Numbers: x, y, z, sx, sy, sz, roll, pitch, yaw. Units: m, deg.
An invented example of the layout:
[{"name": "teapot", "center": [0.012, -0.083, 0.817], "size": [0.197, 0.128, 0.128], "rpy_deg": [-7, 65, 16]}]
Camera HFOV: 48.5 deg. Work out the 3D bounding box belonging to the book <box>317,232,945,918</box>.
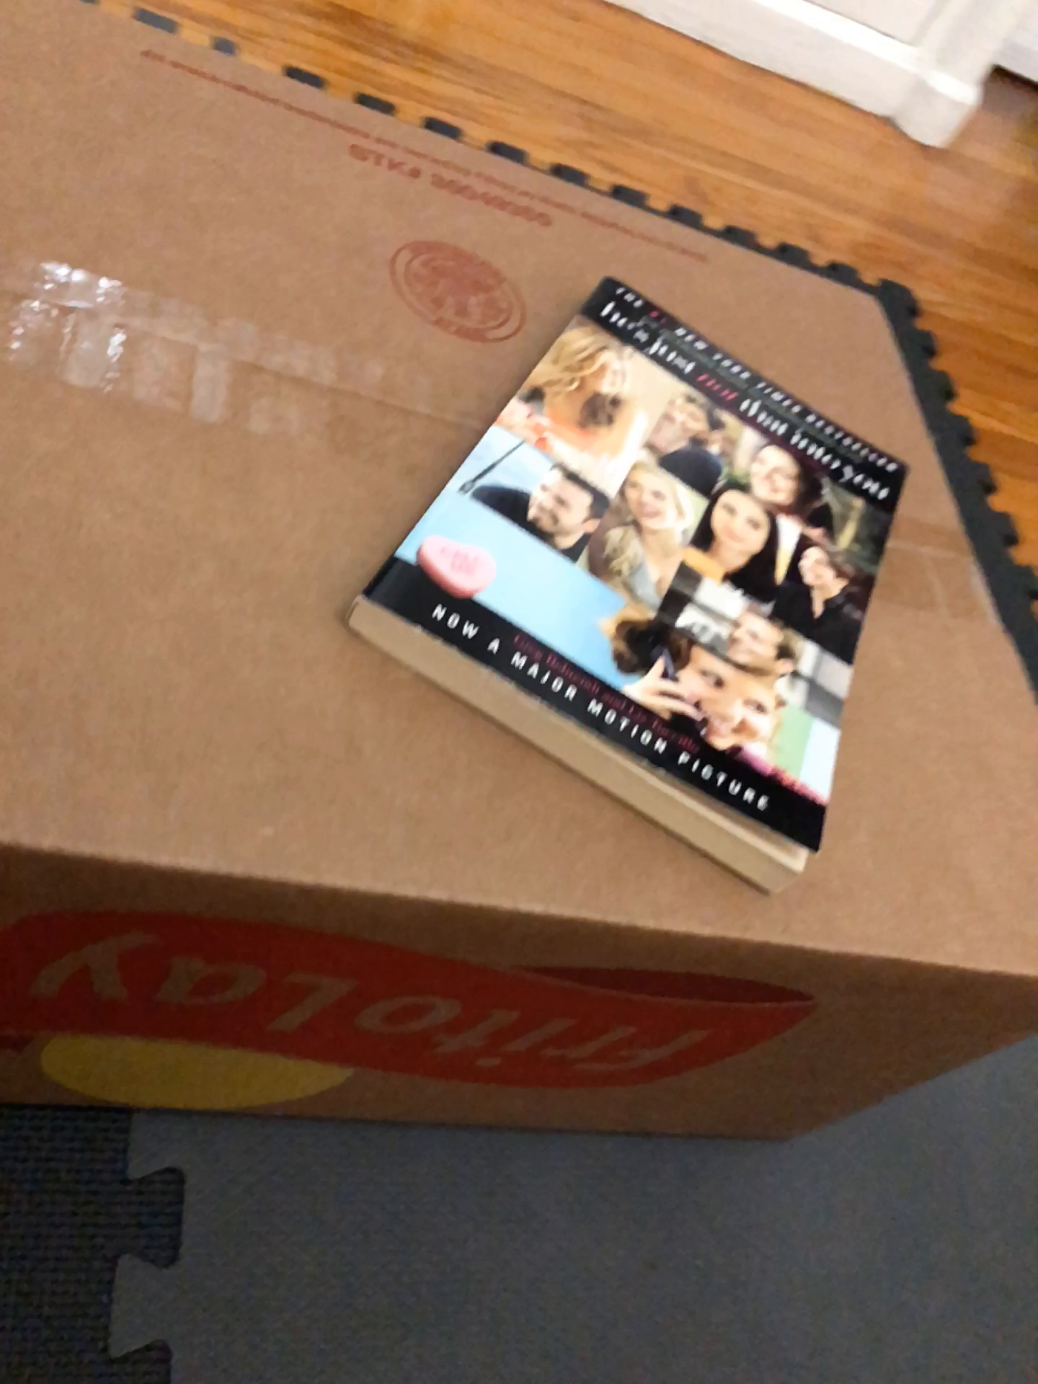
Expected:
[{"name": "book", "center": [0.055, -0.055, 0.373], "size": [0.160, 0.020, 0.211], "rpy_deg": [31, 48, -4]}]
